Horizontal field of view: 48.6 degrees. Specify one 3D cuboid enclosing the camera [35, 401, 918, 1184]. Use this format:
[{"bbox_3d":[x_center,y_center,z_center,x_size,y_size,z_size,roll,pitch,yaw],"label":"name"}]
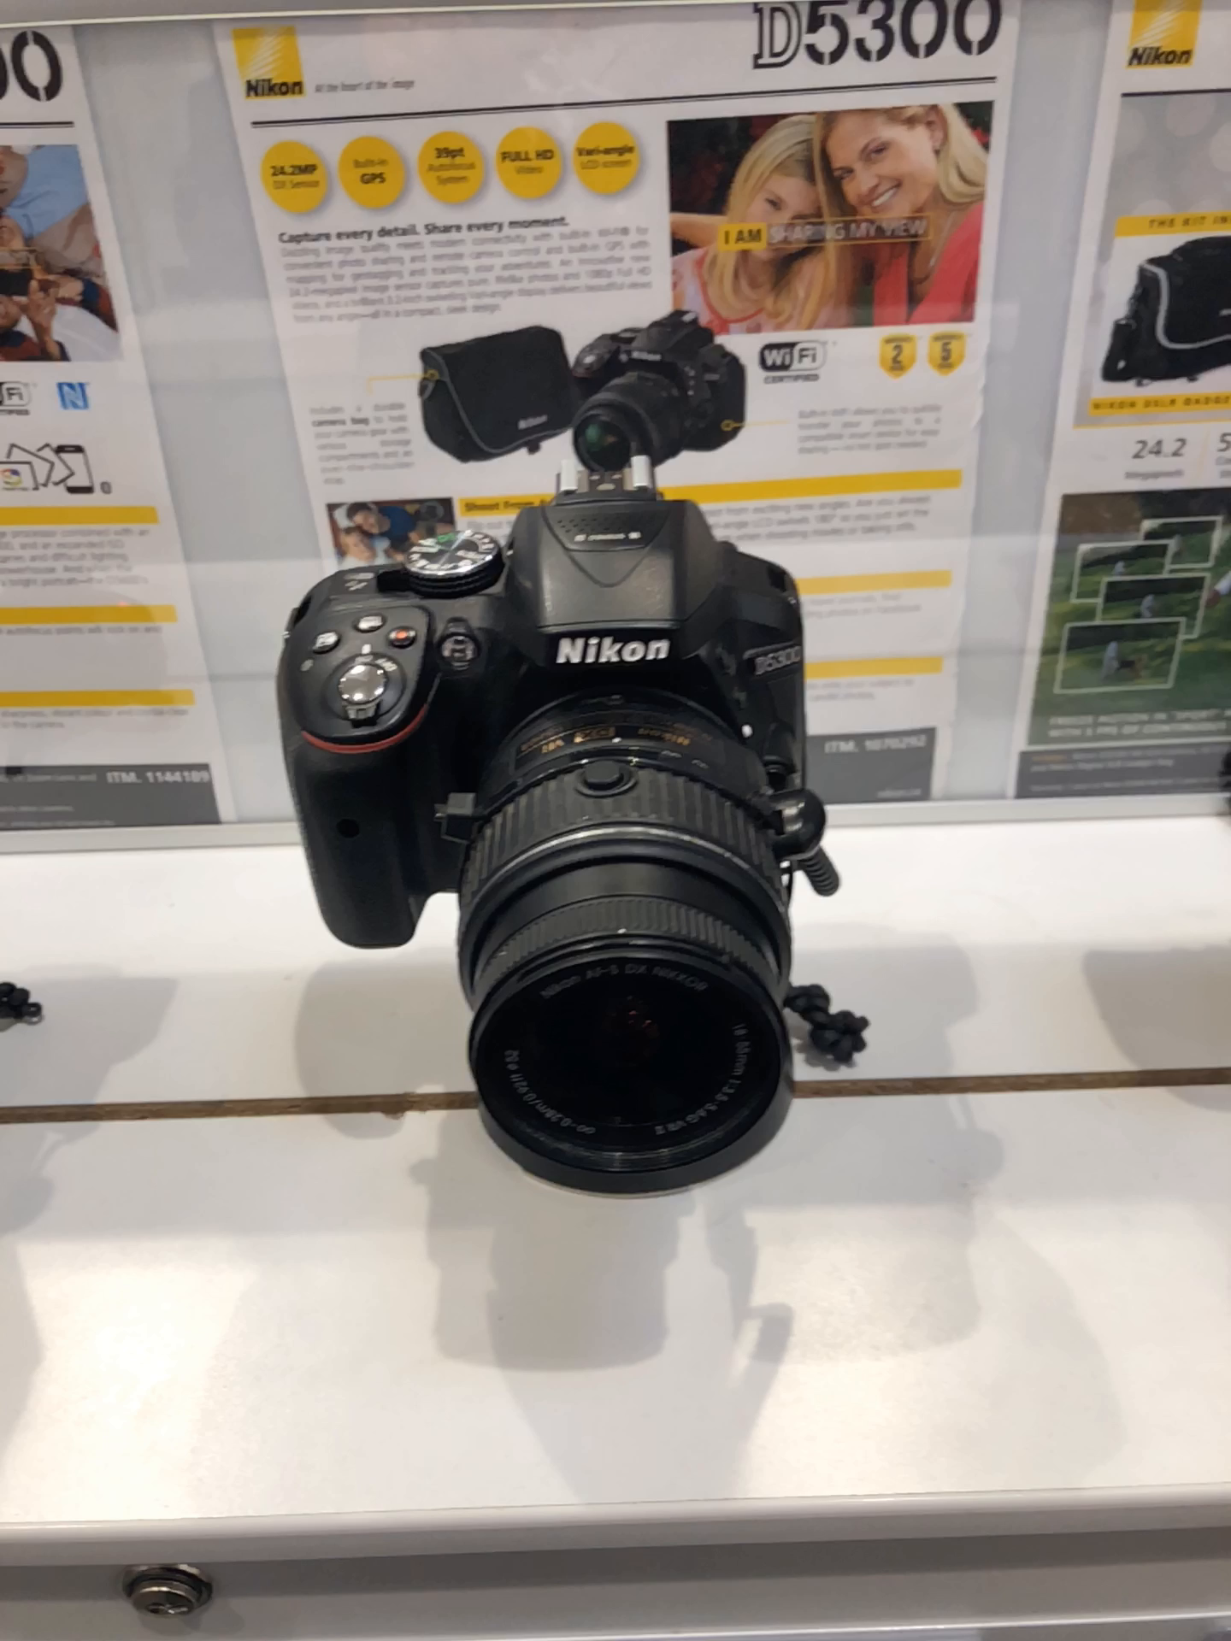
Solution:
[{"bbox_3d":[-0.022,-0.017,0.288,0.130,0.089,0.151,-3,36,-1],"label":"camera"}]
